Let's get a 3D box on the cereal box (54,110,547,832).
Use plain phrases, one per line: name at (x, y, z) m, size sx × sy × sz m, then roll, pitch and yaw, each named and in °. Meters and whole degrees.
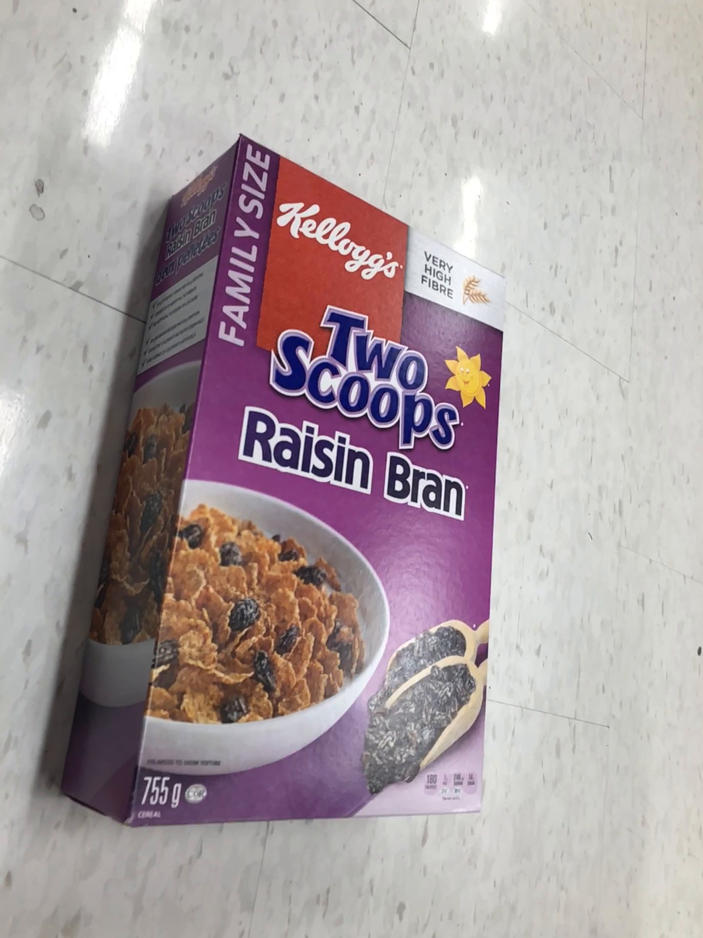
cereal box at (-0.003, 0.013, 0.402) m, size 0.220 × 0.080 × 0.300 m, roll 17°, pitch 71°, yaw -35°
